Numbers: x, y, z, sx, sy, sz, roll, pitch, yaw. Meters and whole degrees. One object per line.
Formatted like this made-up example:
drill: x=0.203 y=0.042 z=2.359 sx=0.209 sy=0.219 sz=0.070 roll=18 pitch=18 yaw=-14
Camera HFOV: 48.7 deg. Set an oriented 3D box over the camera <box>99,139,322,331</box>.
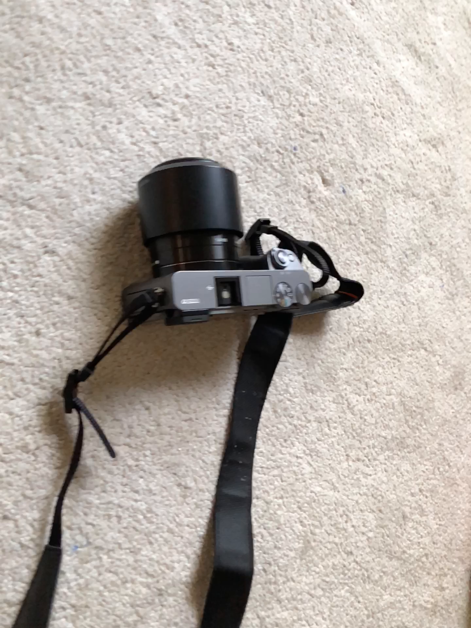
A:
camera: x=-0.015 y=-0.046 z=0.347 sx=0.120 sy=0.070 sz=0.100 roll=-5 pitch=87 yaw=-40
